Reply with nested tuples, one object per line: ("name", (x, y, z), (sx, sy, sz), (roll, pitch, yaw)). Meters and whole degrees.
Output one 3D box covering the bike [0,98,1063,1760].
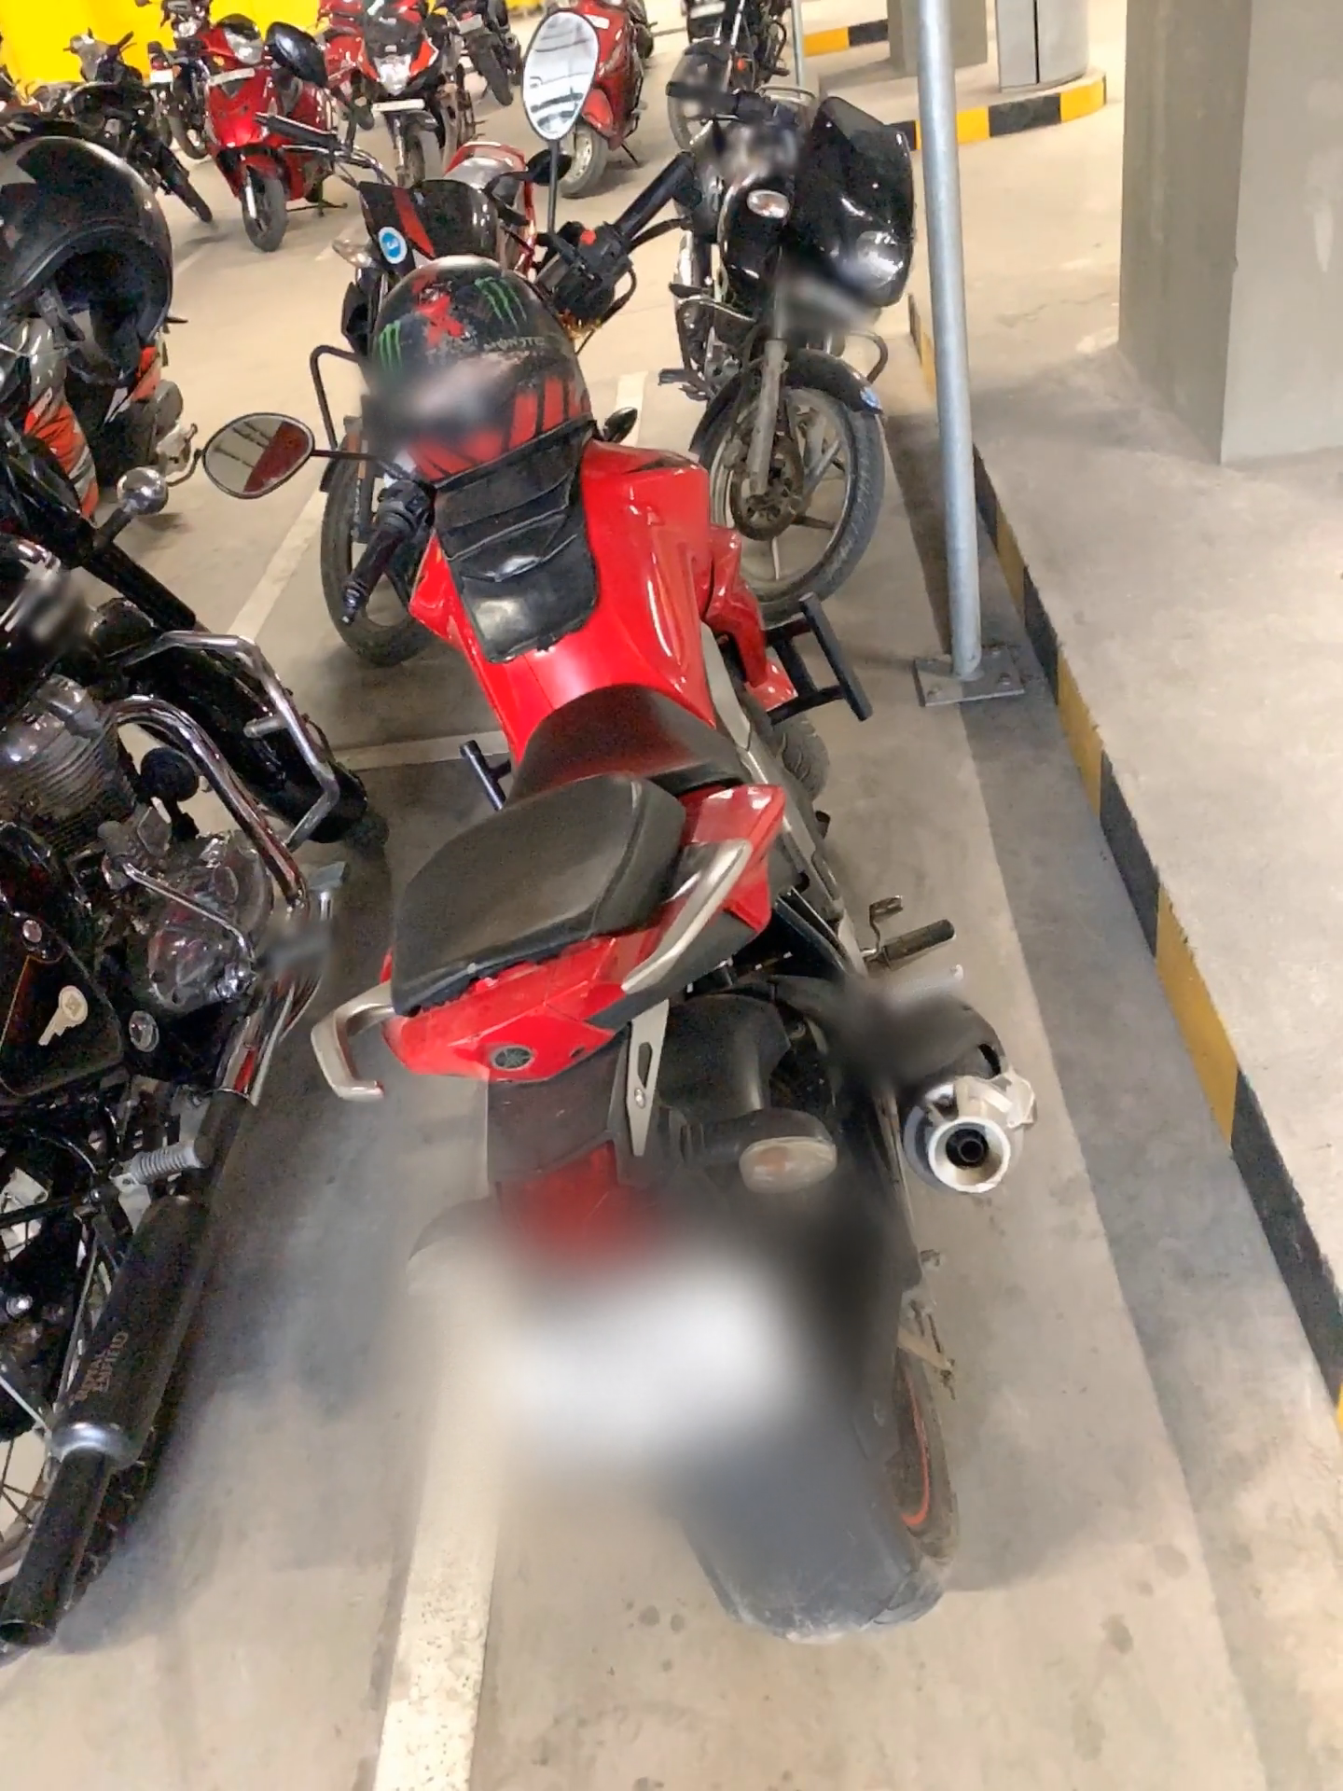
("bike", (-0.243, -0.153, 1.654), (0.676, 1.121, 1.692), (-15, 38, -3))
